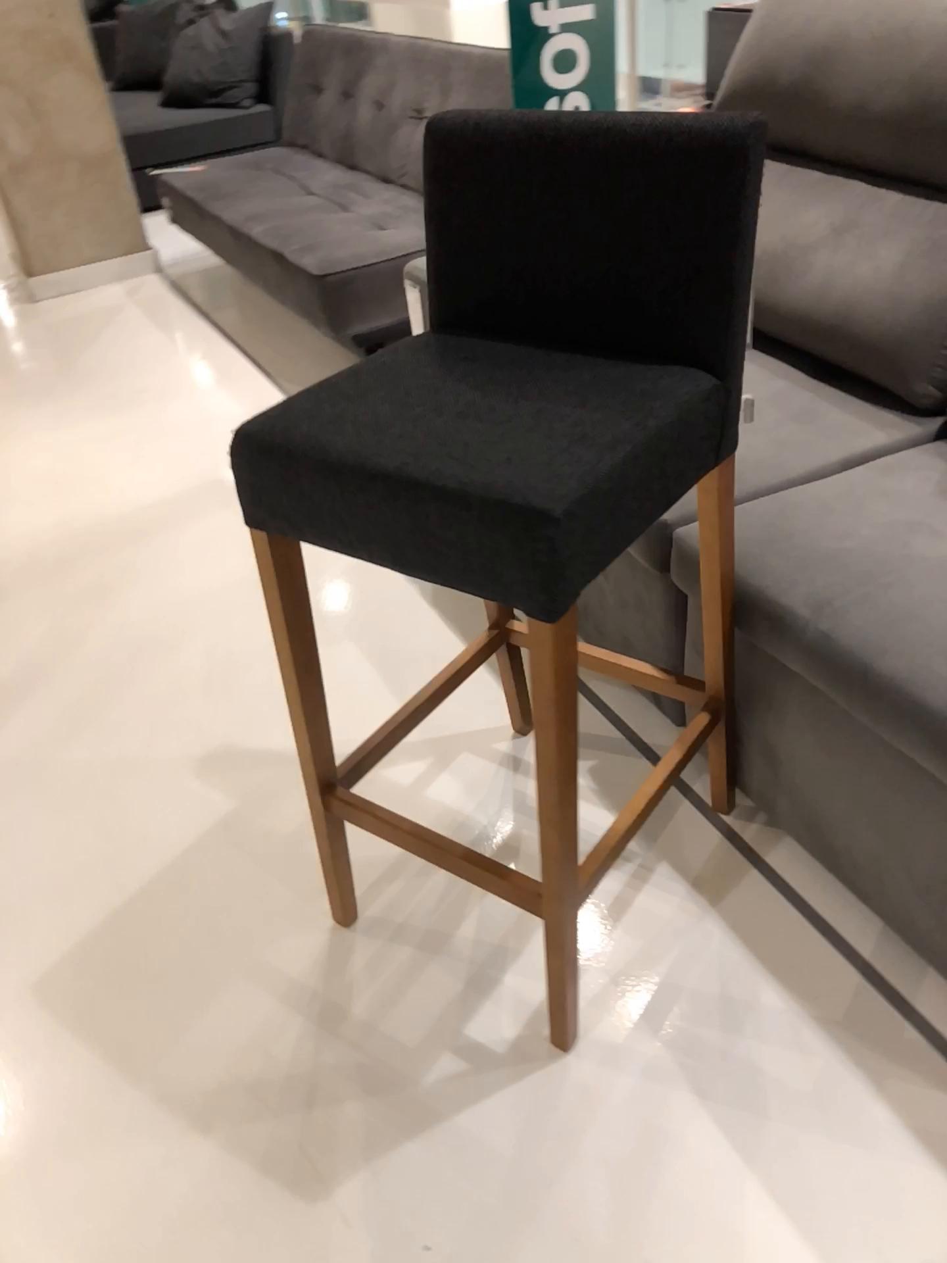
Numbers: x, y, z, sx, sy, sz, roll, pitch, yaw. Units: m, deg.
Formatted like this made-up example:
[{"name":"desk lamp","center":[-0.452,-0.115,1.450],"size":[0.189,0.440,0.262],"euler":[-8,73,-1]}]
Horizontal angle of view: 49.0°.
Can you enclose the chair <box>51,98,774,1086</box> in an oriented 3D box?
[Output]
[{"name":"chair","center":[0.013,-0.066,1.284],"size":[0.451,0.972,0.583],"euler":[17,40,32]}]
